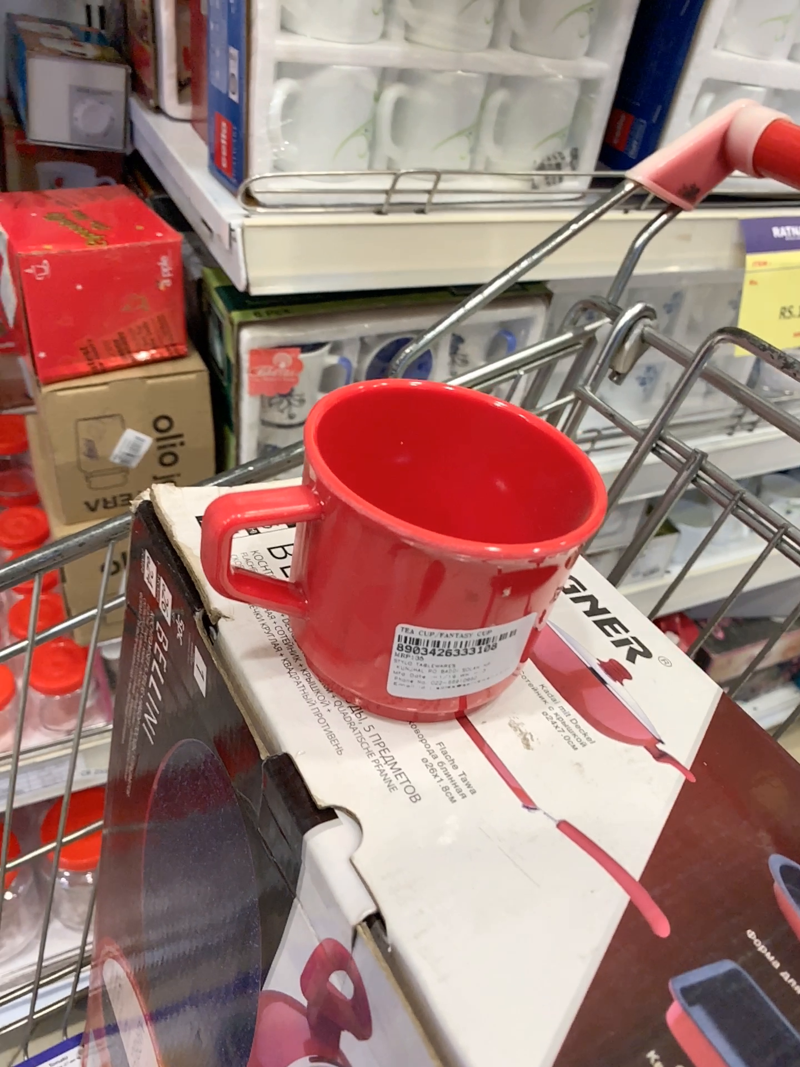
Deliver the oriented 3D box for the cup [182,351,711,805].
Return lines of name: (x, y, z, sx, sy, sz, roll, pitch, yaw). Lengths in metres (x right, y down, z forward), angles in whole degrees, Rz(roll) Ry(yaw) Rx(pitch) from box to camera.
cup: (0.003, 0.004, 0.191, 0.090, 0.060, 0.070, -8, 42, -25)
